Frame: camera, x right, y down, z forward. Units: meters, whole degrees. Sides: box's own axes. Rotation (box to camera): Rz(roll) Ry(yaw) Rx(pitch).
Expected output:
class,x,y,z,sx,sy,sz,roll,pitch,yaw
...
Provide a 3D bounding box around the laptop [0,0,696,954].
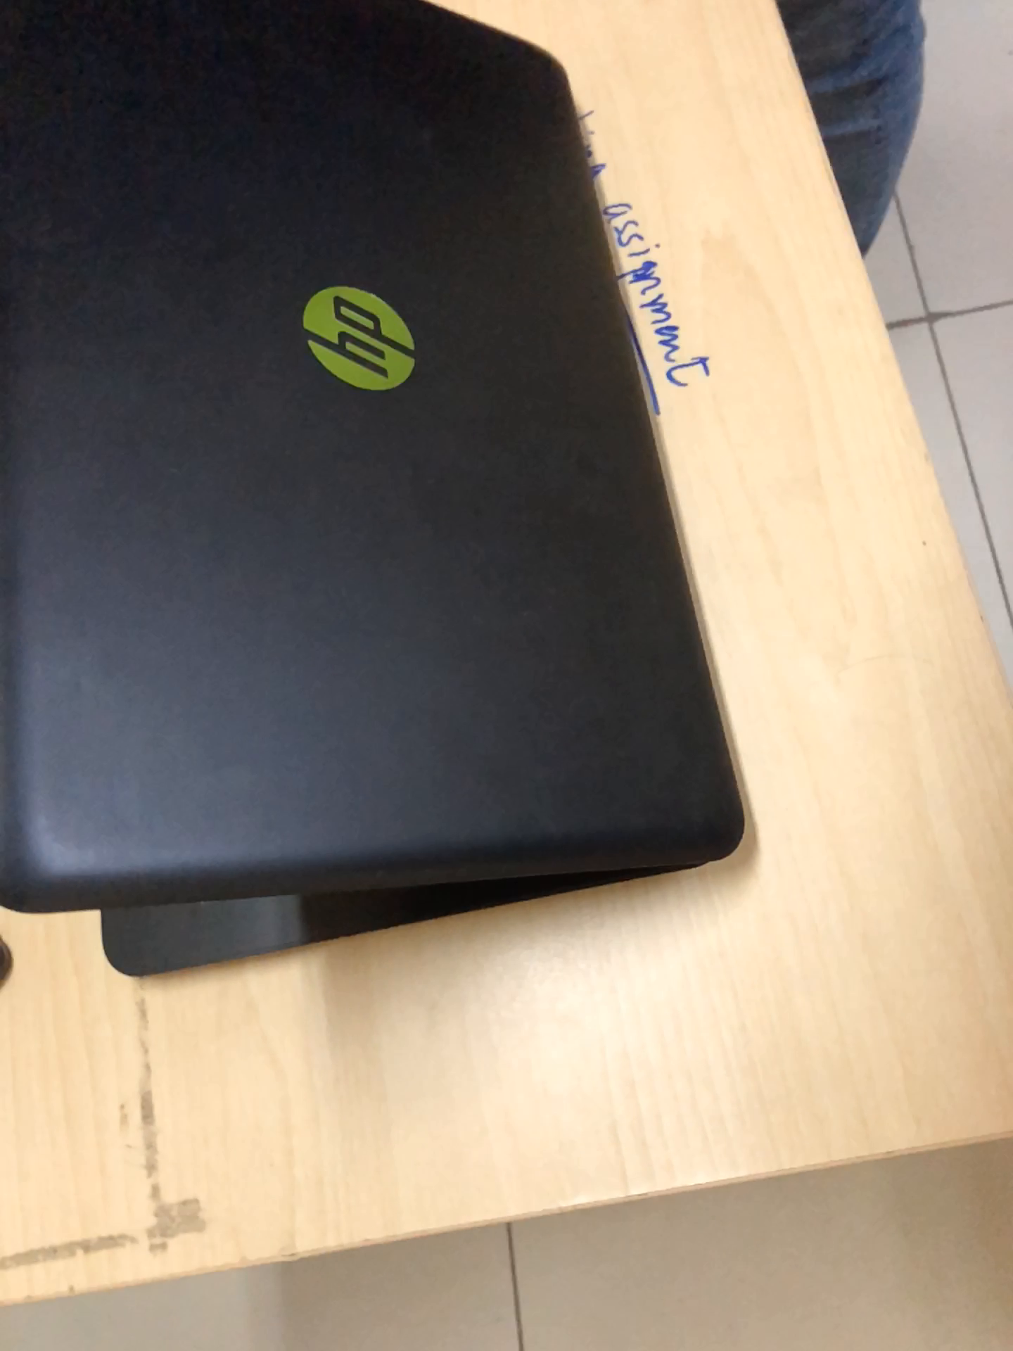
class,x,y,z,sx,sy,sz,roll,pitch,yaw
laptop,-0.086,-0.109,0.405,0.230,0.167,0.360,-13,70,8
